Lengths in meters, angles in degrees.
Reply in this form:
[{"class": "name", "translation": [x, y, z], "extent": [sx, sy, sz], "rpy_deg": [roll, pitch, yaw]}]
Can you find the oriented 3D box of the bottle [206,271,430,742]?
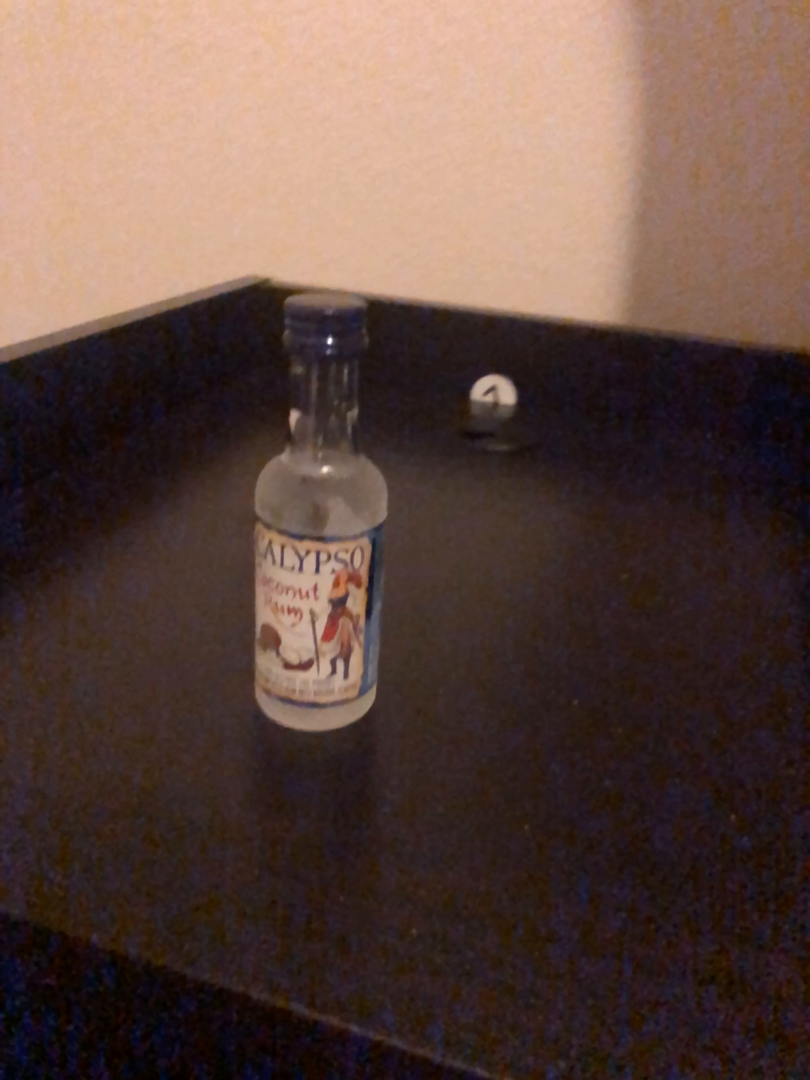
[{"class": "bottle", "translation": [-0.021, -0.008, 0.219], "extent": [0.040, 0.104, 0.036], "rpy_deg": [9, 23, 12]}]
